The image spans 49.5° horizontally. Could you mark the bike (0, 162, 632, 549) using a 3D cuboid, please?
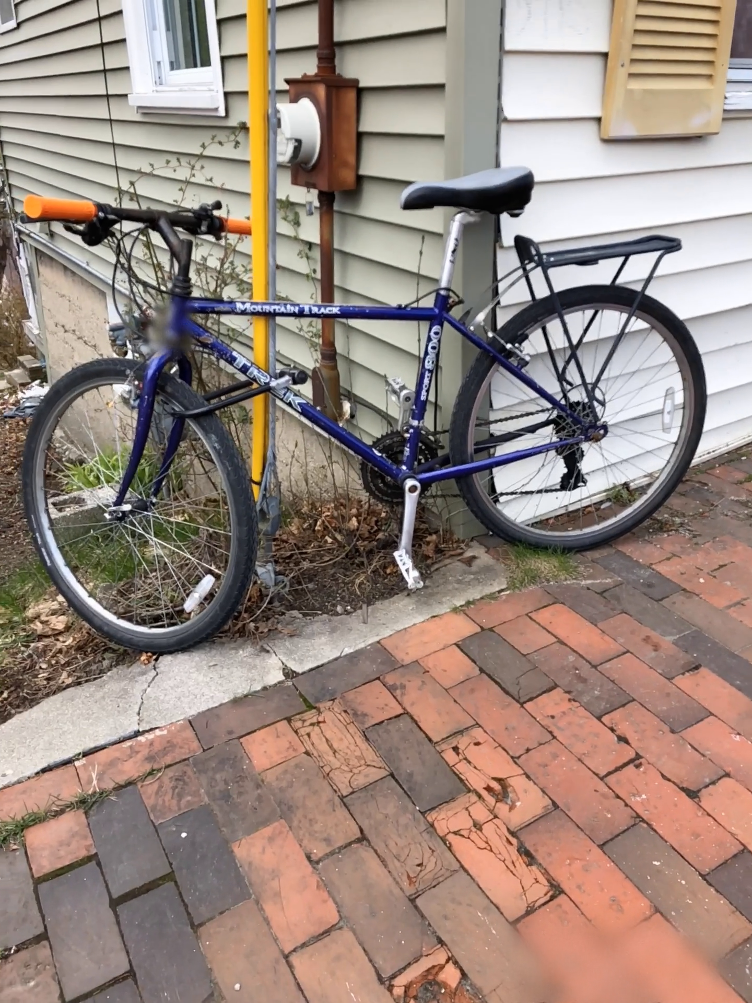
[{"bbox_3d":[-0.196,-0.332,1.790,1.146,0.690,0.515,-2,26,0],"label":"bike"}]
